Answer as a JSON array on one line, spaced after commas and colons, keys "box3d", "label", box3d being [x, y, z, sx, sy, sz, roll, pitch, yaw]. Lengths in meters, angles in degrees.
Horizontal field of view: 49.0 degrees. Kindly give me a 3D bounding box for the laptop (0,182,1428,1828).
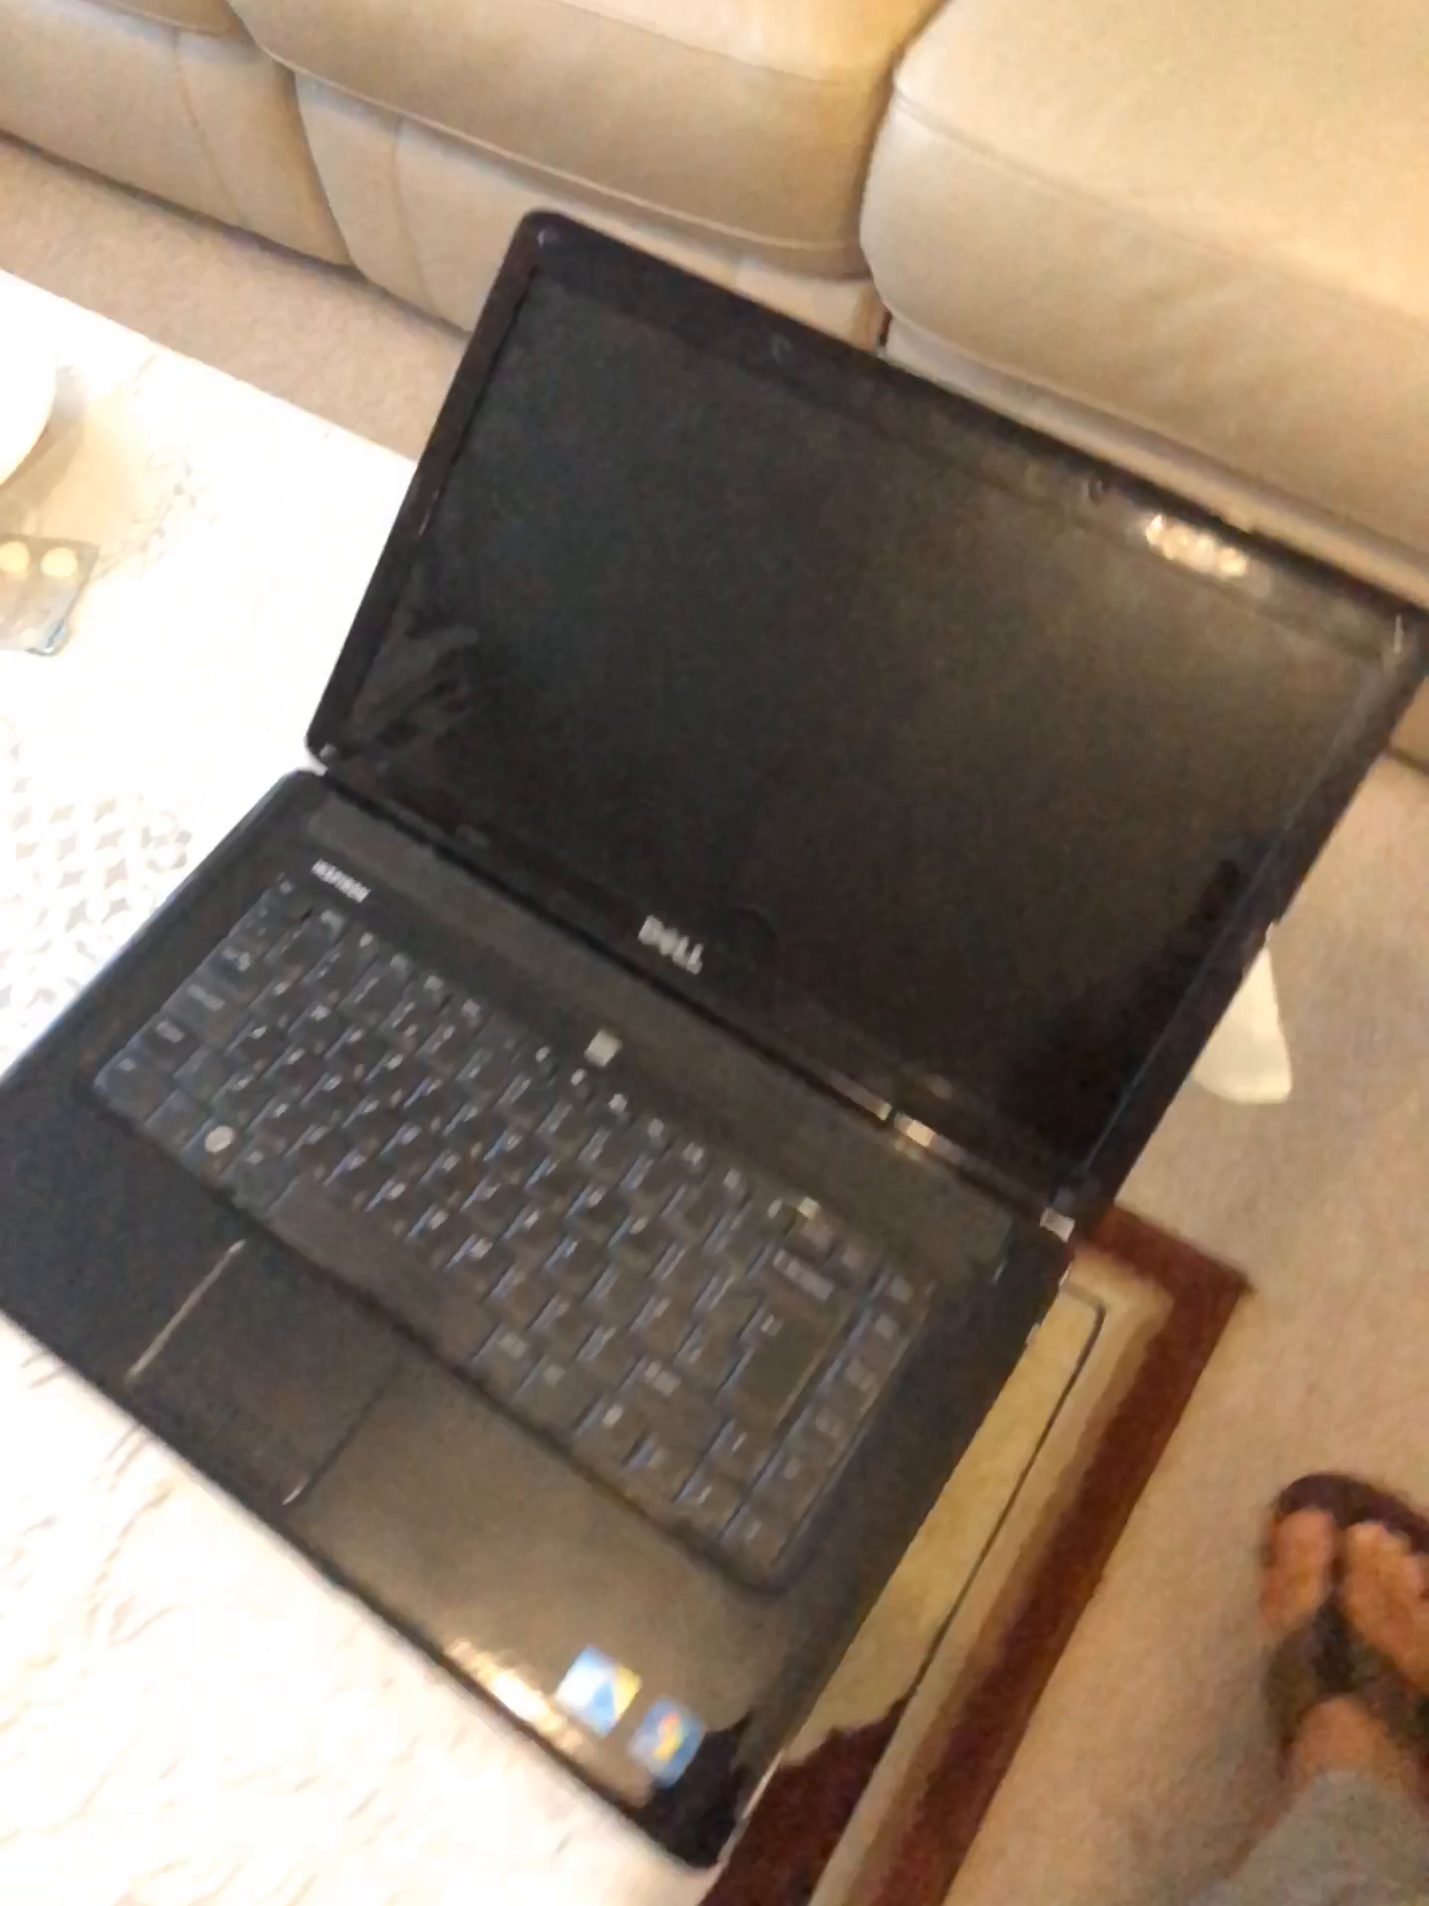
[{"box3d": [-0.028, -0.019, 0.540, 0.364, 0.122, 0.419, 30, 70, 16], "label": "laptop"}]
